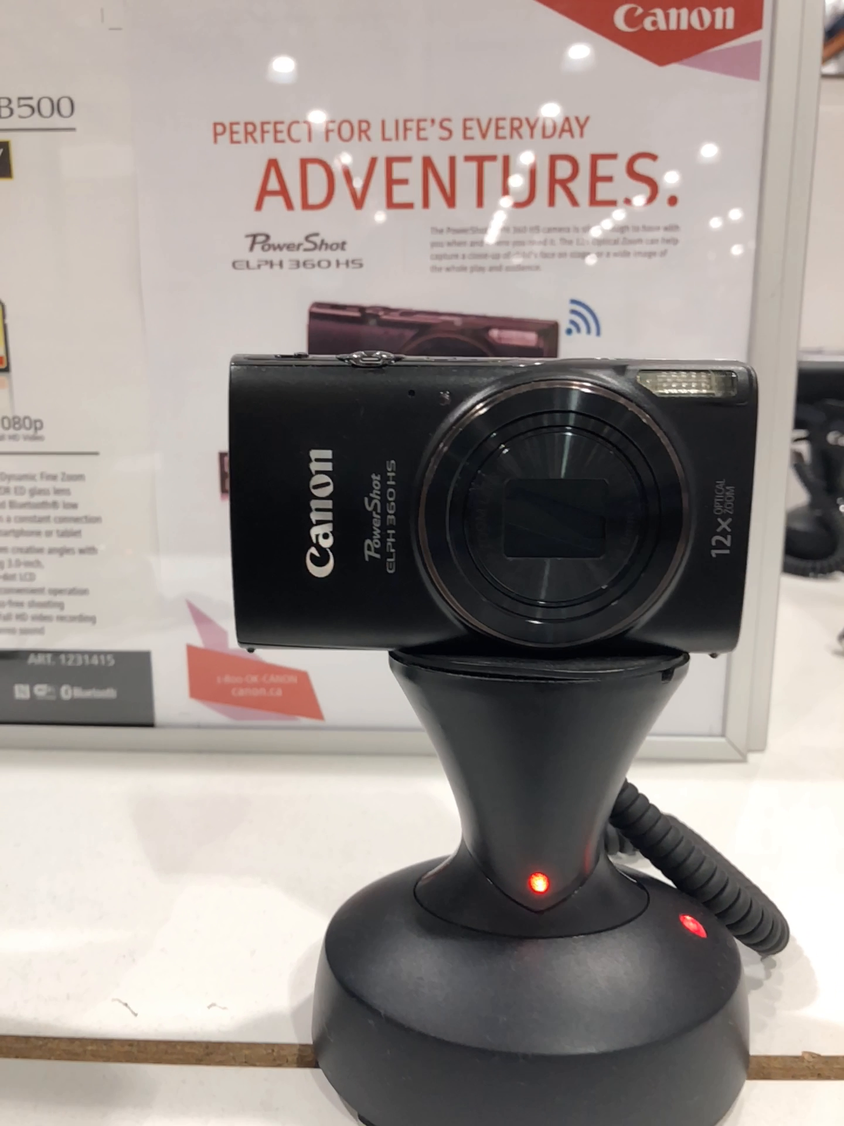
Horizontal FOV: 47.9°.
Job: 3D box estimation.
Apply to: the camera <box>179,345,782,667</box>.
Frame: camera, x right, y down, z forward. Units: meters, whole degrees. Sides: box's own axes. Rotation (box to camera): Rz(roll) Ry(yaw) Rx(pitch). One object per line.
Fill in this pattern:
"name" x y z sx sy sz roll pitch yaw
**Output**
"camera" 0.010 -0.013 0.194 0.110 0.060 0.030 1 12 2
